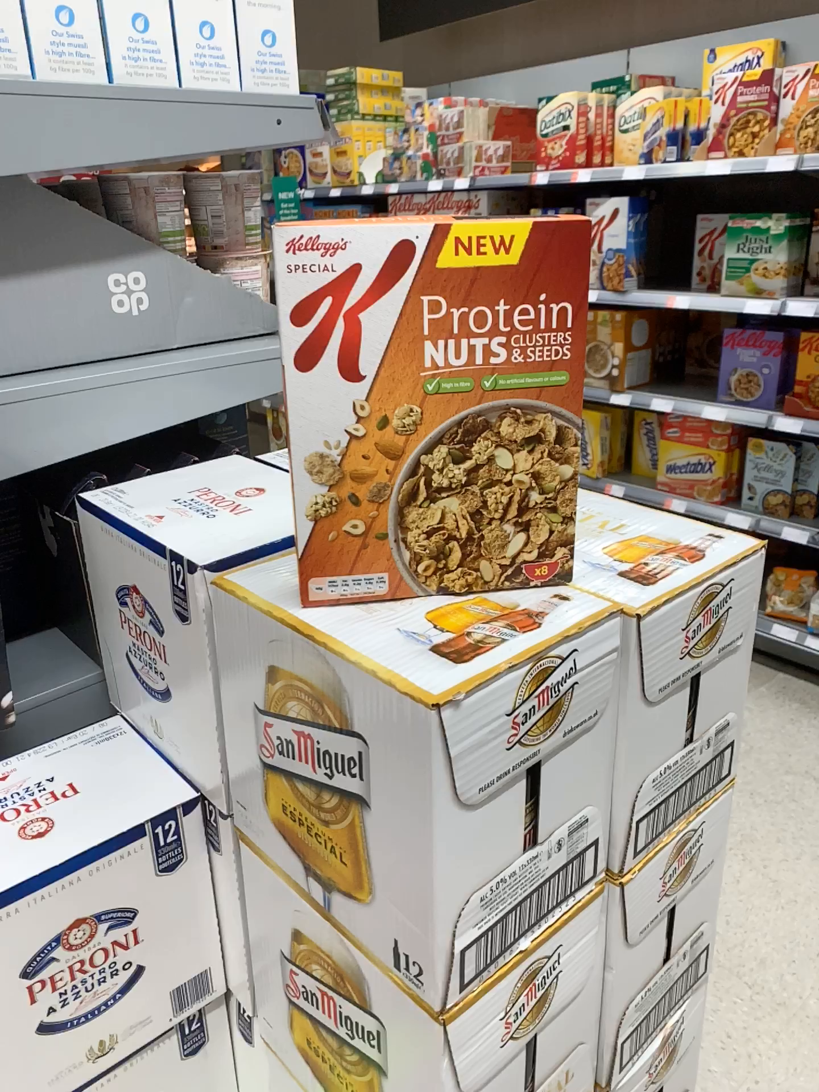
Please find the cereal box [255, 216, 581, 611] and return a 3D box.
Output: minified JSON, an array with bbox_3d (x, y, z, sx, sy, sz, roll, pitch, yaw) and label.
[{"bbox_3d":[0.007,-0.085,0.549,0.190,0.238,0.050,-5,21,-7],"label":"cereal box"}]
